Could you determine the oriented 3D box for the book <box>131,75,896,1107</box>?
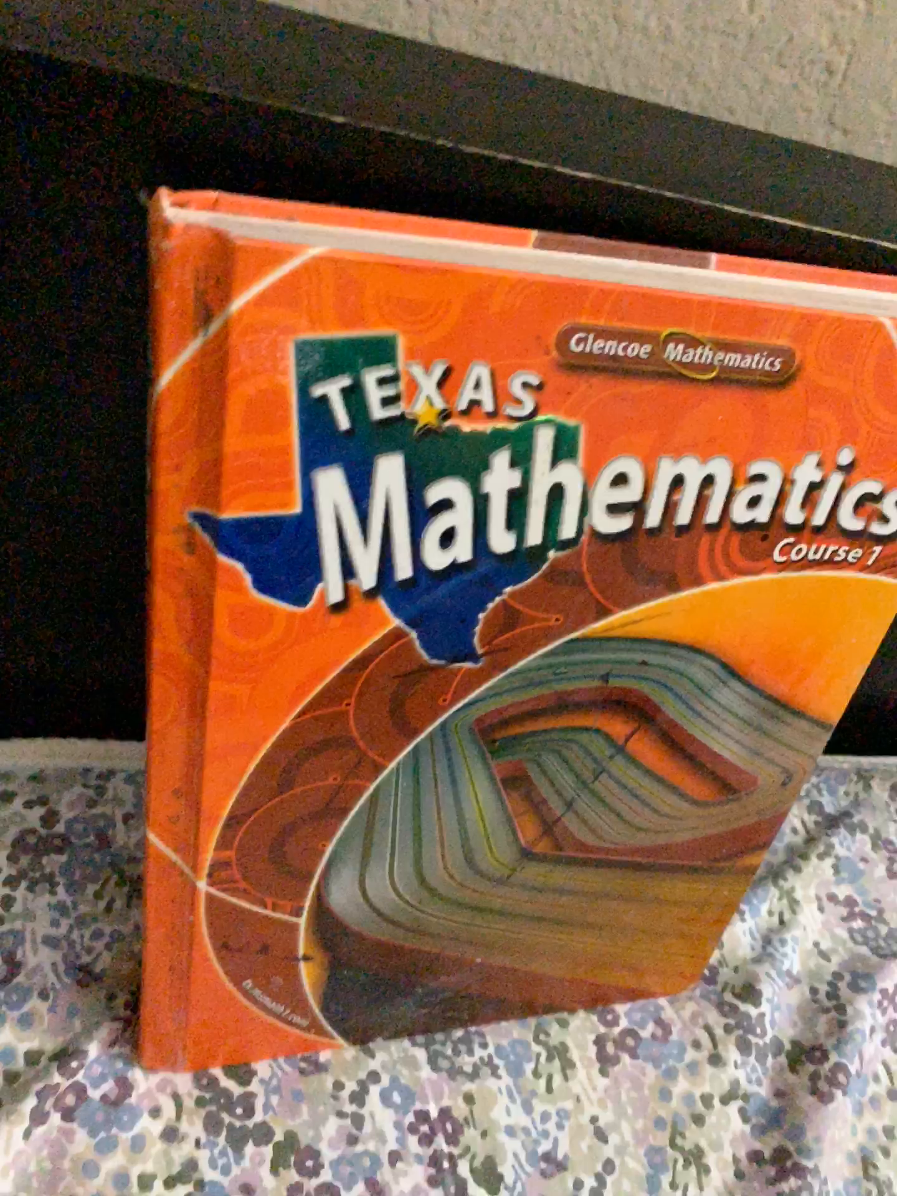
[{"bbox_3d":[0.030,0.034,0.284,0.230,0.299,0.050,-1,39,-22],"label":"book"}]
